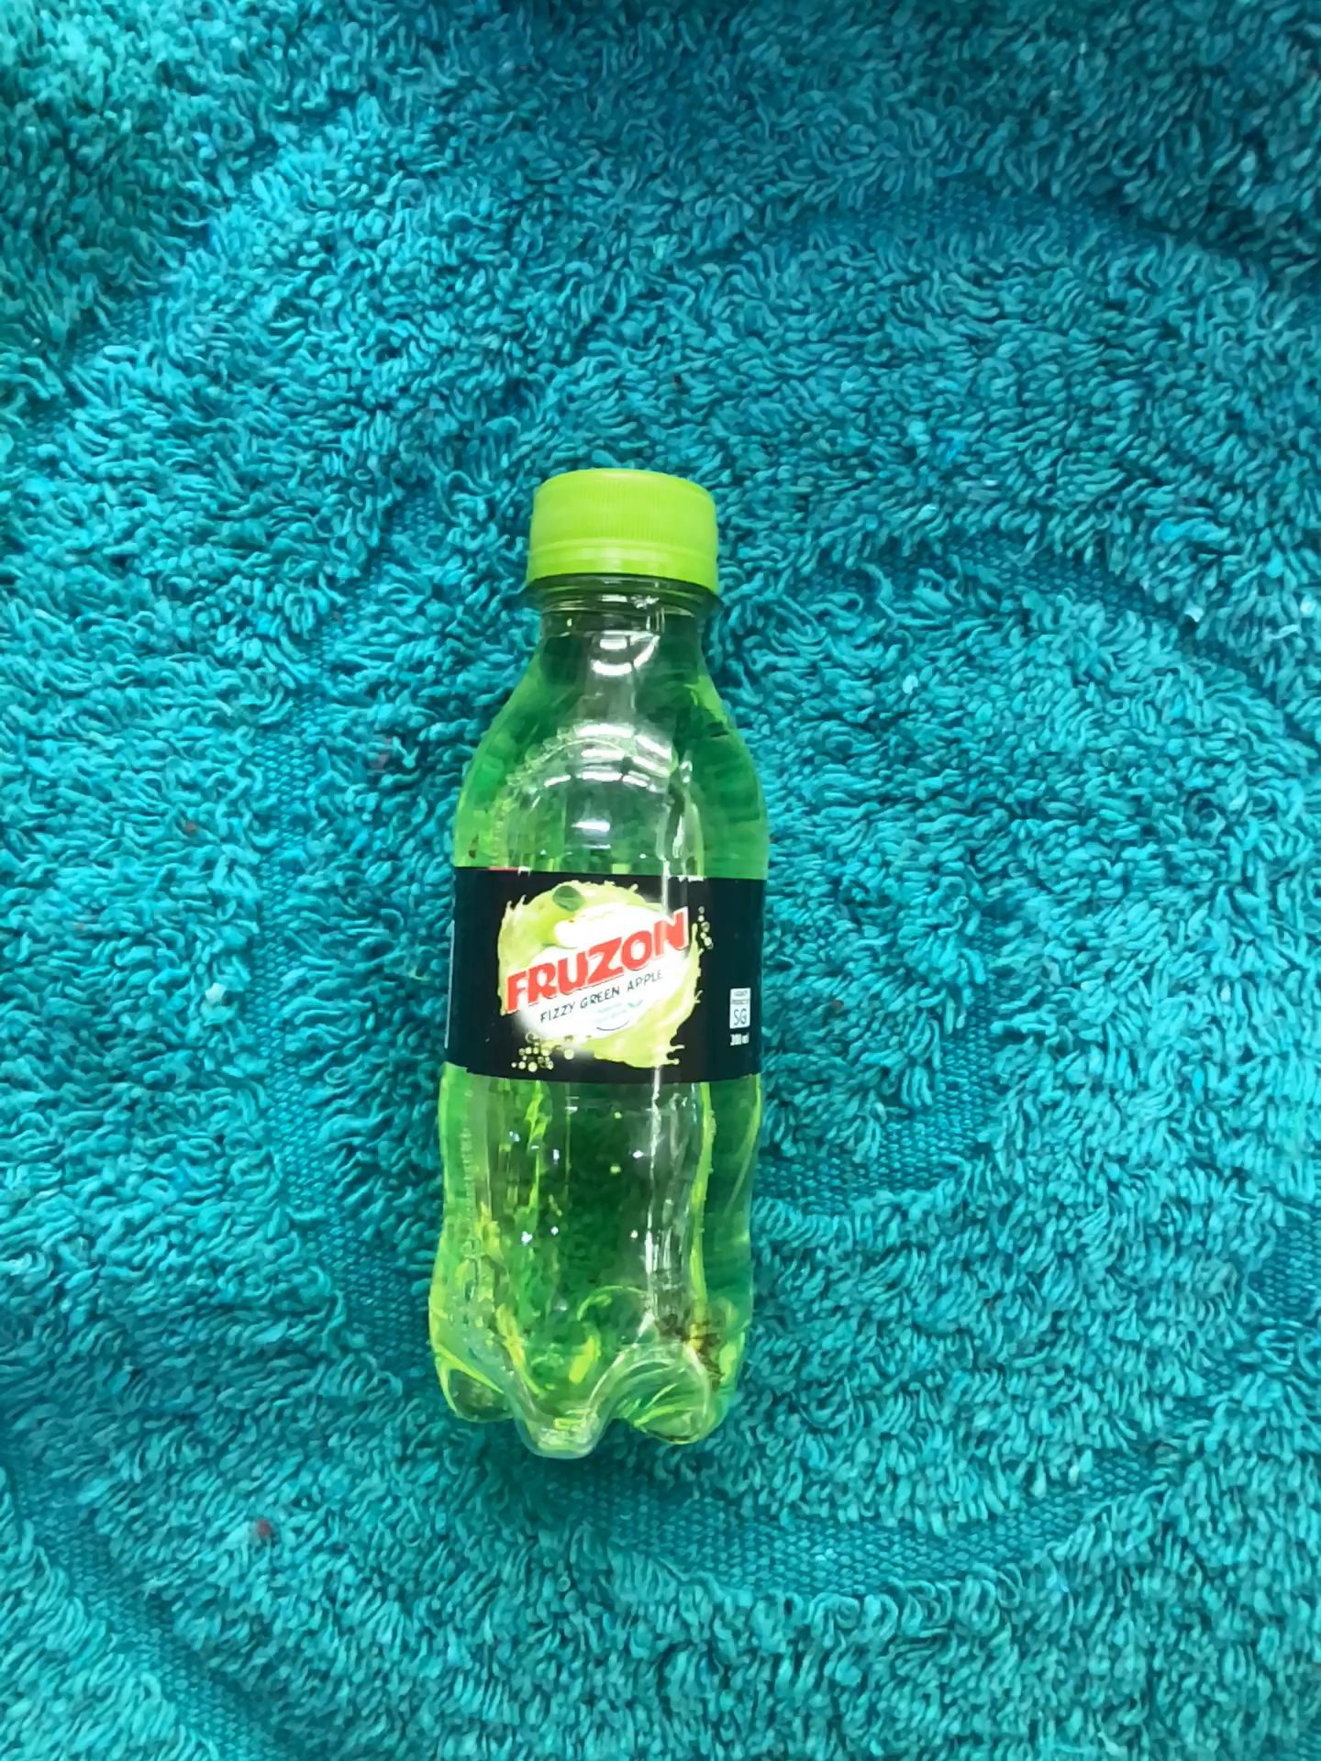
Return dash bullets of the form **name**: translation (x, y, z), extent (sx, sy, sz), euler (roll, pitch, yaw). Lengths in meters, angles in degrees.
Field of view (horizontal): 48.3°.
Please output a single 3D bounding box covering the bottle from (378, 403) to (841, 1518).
- **bottle**: translation (-0.006, 0.011, 0.240), extent (0.060, 0.050, 0.160), euler (3, 92, 4)
